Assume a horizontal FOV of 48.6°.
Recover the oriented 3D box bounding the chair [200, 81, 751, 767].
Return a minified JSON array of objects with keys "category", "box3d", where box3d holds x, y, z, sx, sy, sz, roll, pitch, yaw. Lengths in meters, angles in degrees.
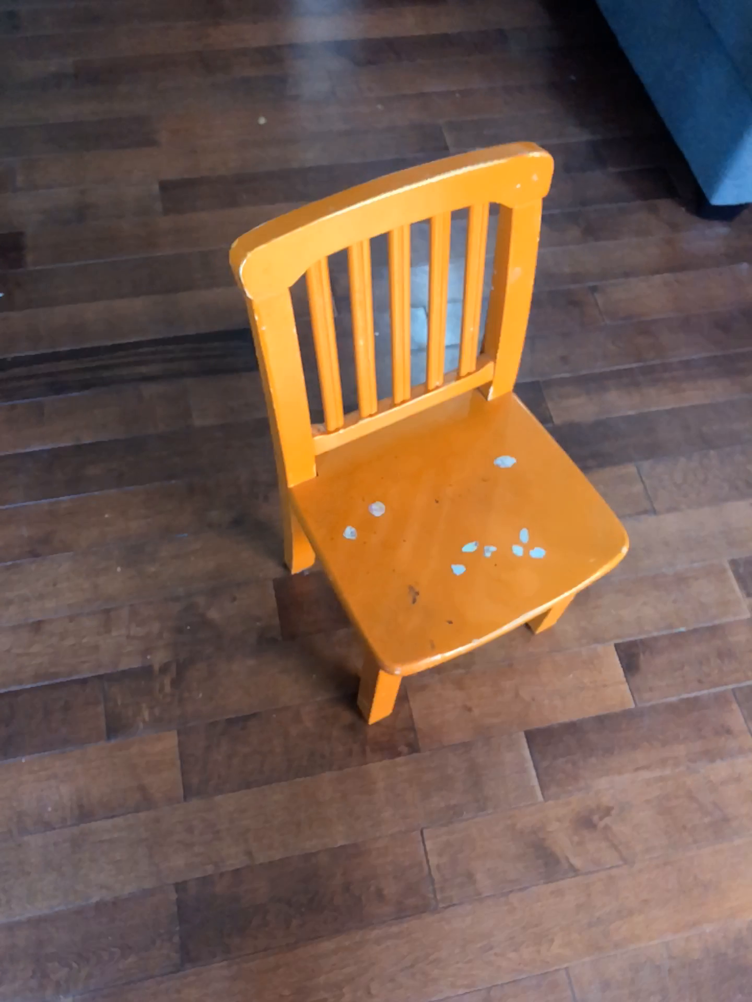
[{"category":"chair","box3d":[0.093,-0.026,0.867,0.360,0.569,0.350,-25,66,-16]}]
